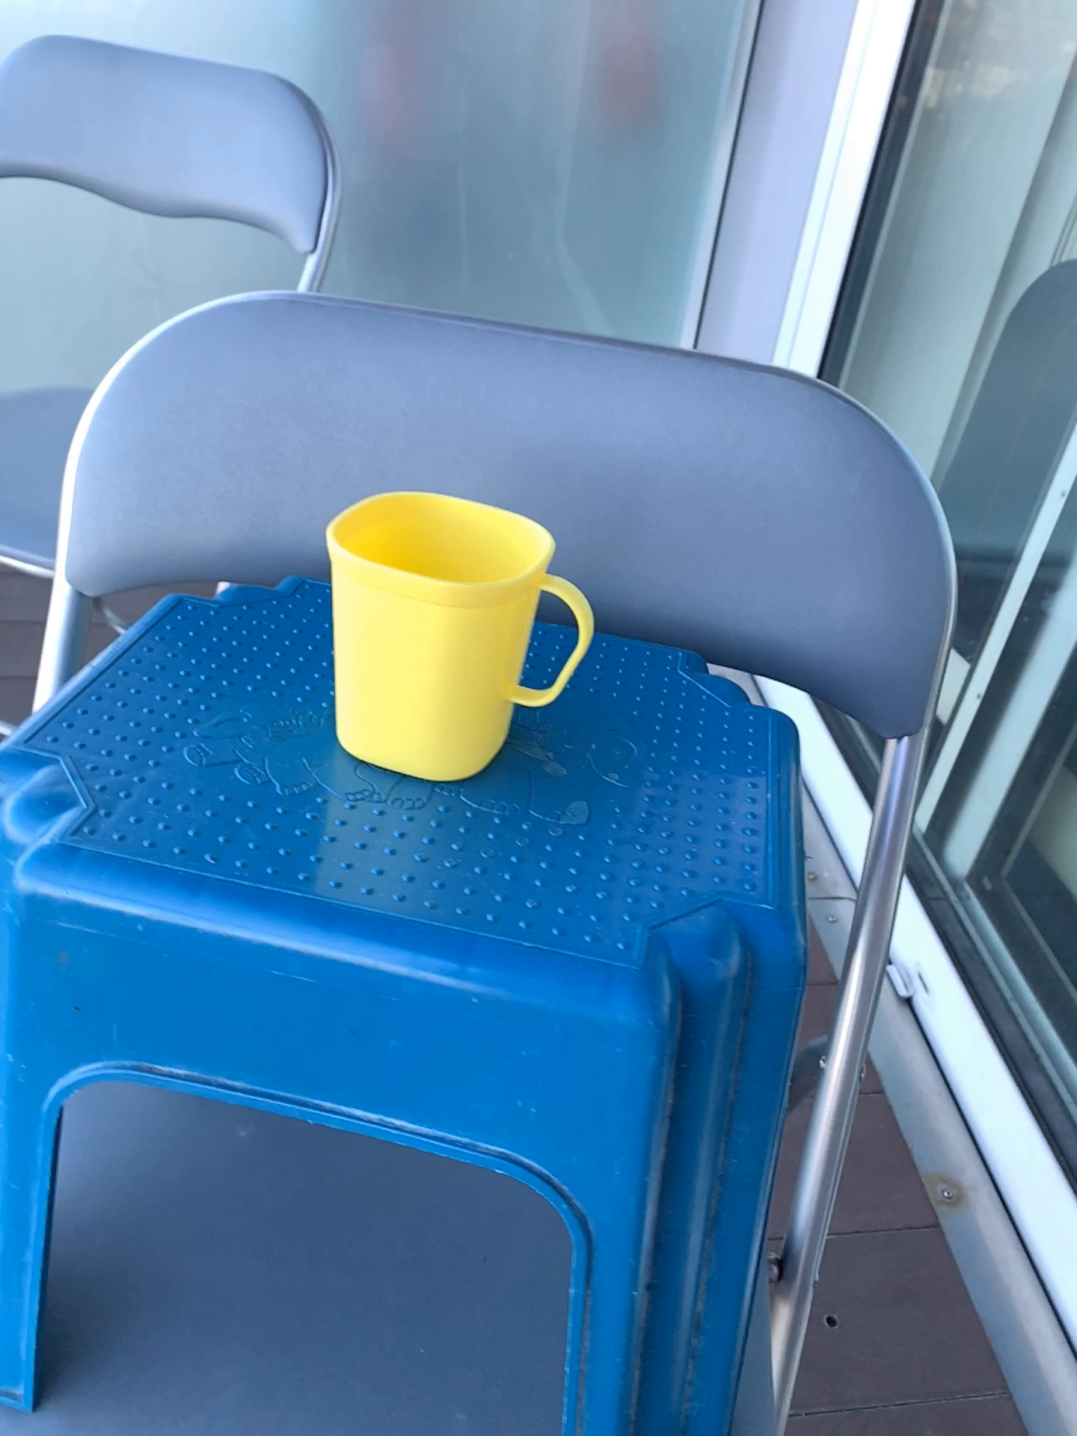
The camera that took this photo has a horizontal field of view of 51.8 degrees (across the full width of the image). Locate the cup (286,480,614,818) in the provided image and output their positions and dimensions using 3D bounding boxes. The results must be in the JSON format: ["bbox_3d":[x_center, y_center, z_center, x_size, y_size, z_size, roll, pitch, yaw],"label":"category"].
[{"bbox_3d":[-0.030,-0.027,0.384,0.089,0.077,0.068,15,32,12],"label":"cup"}]
